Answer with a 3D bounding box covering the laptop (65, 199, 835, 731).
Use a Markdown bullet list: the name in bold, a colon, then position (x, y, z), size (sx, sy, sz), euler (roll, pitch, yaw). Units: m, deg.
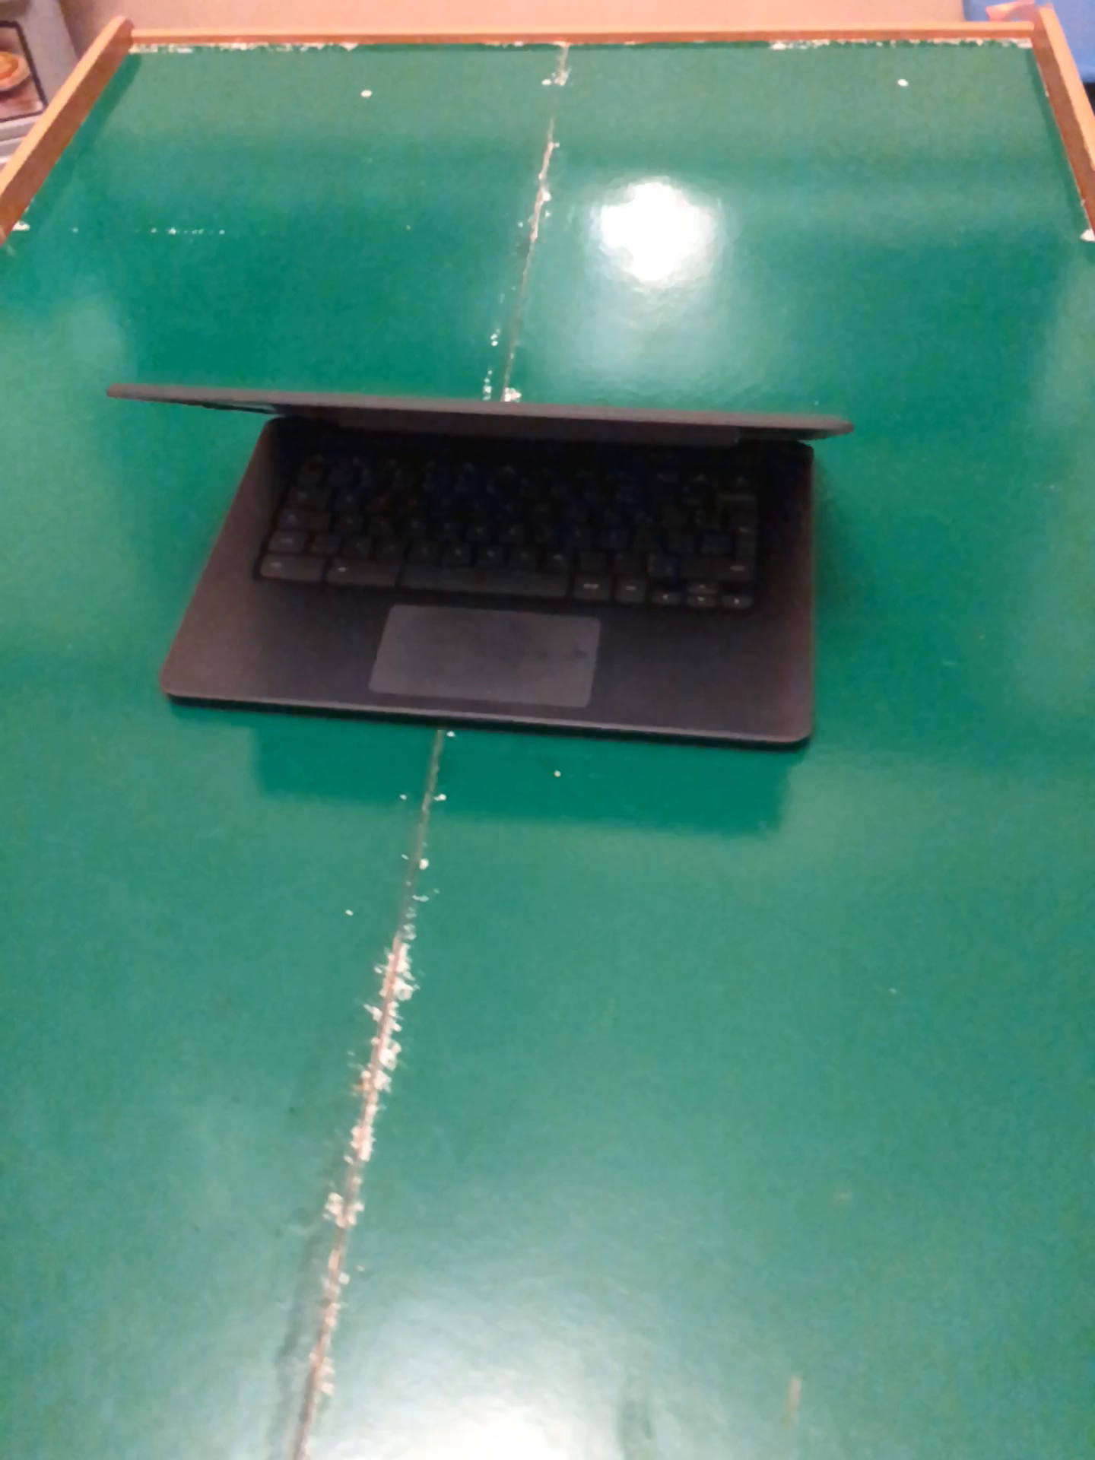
- **laptop**: position (-0.028, -0.138, 0.602), size (0.316, 0.144, 0.209), euler (4, 53, 7)
